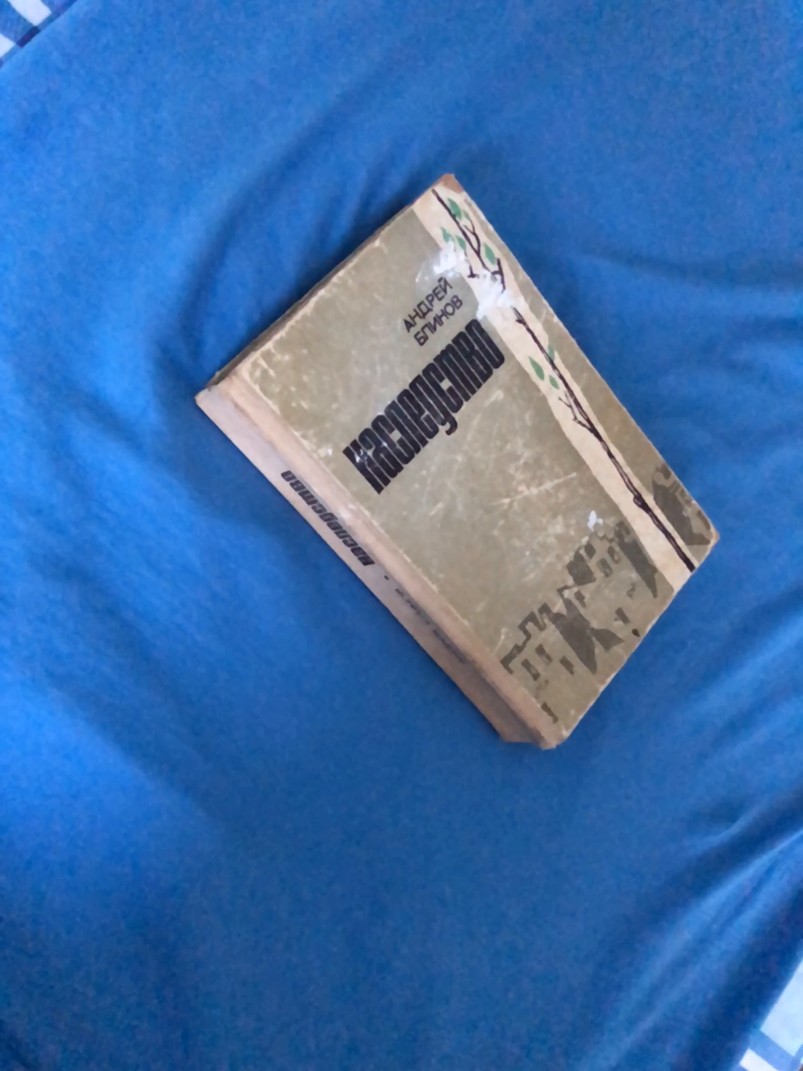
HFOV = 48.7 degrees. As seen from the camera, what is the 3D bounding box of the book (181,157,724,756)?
[{"bbox_3d":[0.032,-0.028,0.366,0.200,0.040,0.130,48,69,-17],"label":"book"}]
